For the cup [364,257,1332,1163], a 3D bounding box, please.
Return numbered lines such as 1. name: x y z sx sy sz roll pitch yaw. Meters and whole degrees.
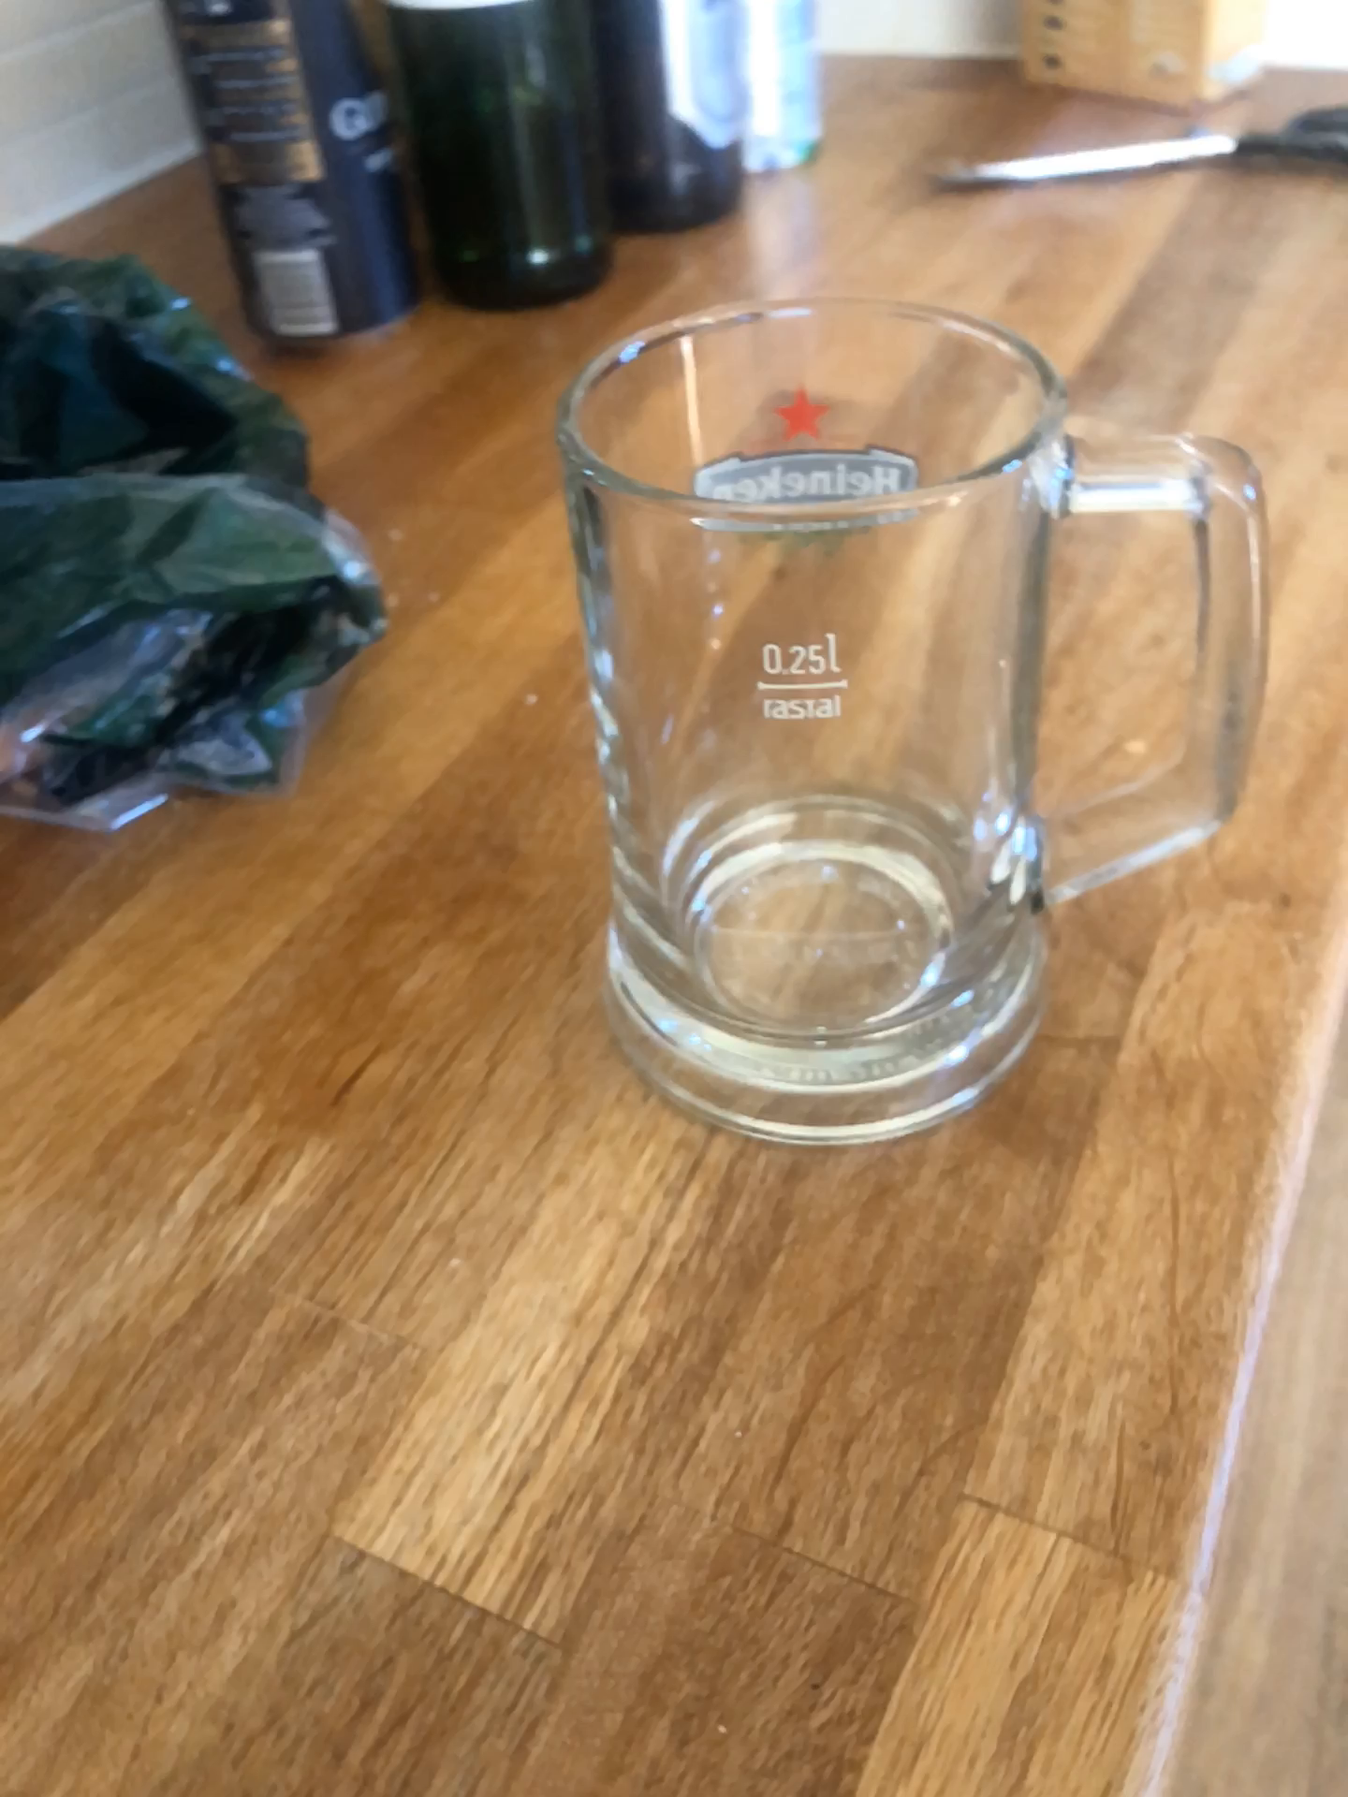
1. cup: 0.027 -0.028 0.250 0.114 0.109 0.092 -2 42 7
